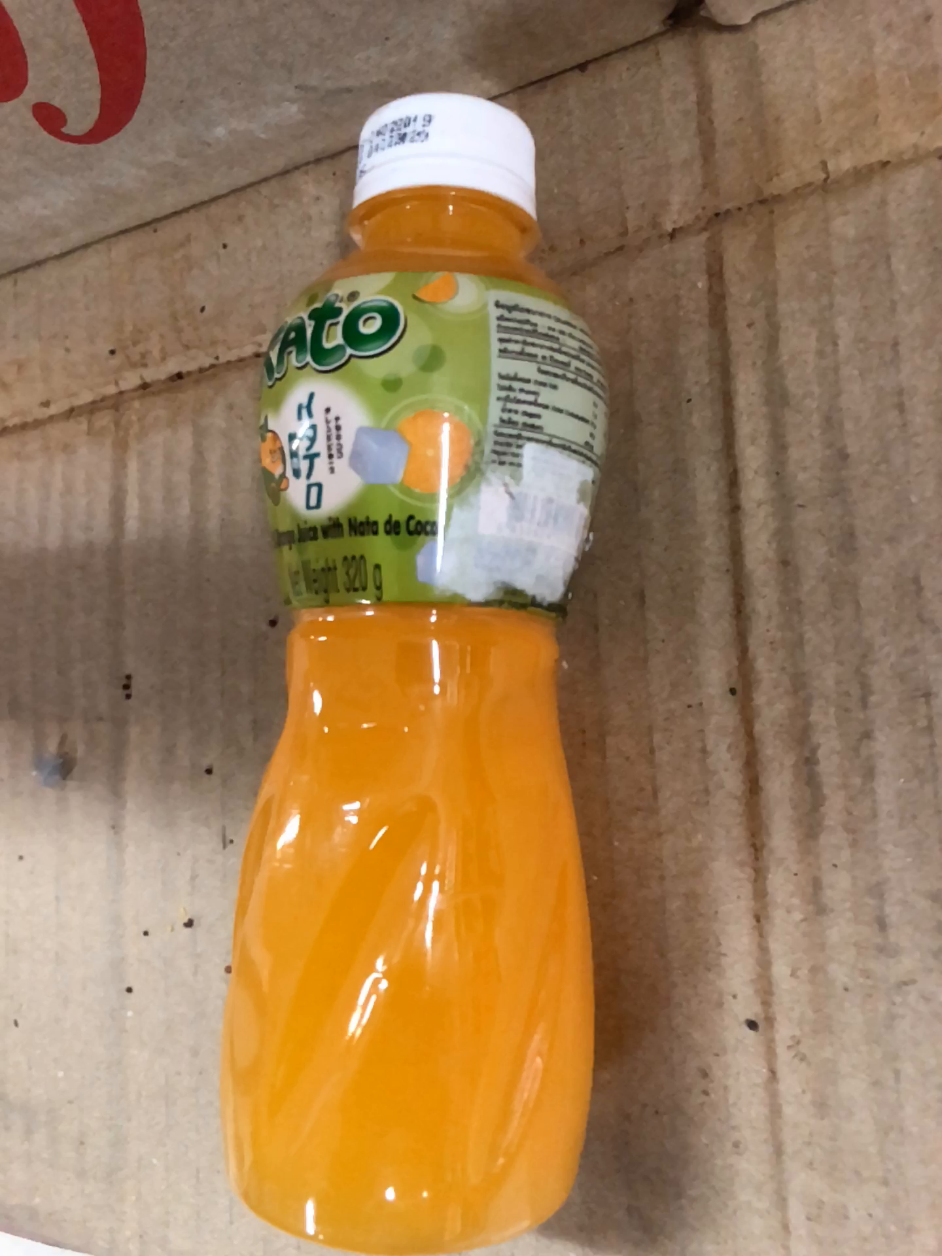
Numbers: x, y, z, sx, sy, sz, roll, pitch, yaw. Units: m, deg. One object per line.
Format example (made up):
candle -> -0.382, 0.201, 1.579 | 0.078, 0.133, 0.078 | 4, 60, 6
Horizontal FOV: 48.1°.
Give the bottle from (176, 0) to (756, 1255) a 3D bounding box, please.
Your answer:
bottle -> 0.003, -0.002, 0.177 | 0.070, 0.060, 0.190 | 0, 86, 31
